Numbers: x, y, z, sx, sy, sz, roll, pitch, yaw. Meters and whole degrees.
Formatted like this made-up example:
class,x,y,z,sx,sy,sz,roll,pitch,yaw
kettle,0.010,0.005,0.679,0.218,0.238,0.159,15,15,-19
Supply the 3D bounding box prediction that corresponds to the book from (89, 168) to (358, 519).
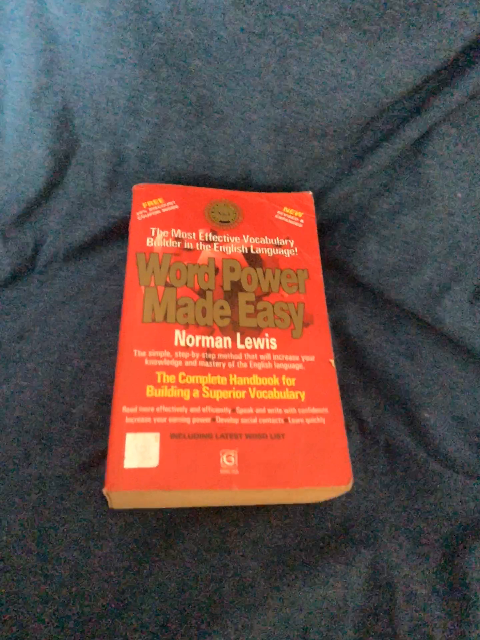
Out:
class,x,y,z,sx,sy,sz,roll,pitch,yaw
book,-0.014,0.007,0.283,0.120,0.050,0.191,1,63,-10
